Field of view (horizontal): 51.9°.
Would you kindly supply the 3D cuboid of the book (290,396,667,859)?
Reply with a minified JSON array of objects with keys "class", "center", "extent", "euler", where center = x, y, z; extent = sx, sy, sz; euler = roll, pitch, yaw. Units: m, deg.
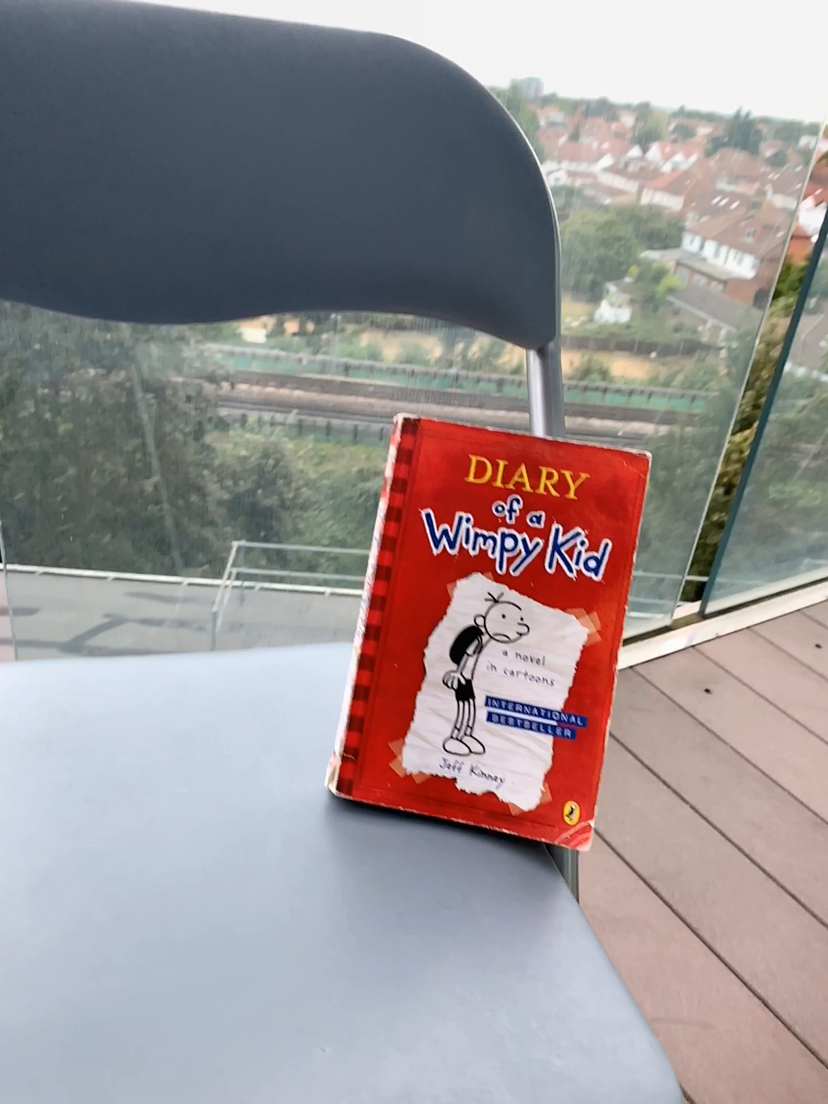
[{"class":"book","center":[0.033,0.034,0.435],"extent":[0.150,0.200,0.040],"euler":[10,-4,6]}]
